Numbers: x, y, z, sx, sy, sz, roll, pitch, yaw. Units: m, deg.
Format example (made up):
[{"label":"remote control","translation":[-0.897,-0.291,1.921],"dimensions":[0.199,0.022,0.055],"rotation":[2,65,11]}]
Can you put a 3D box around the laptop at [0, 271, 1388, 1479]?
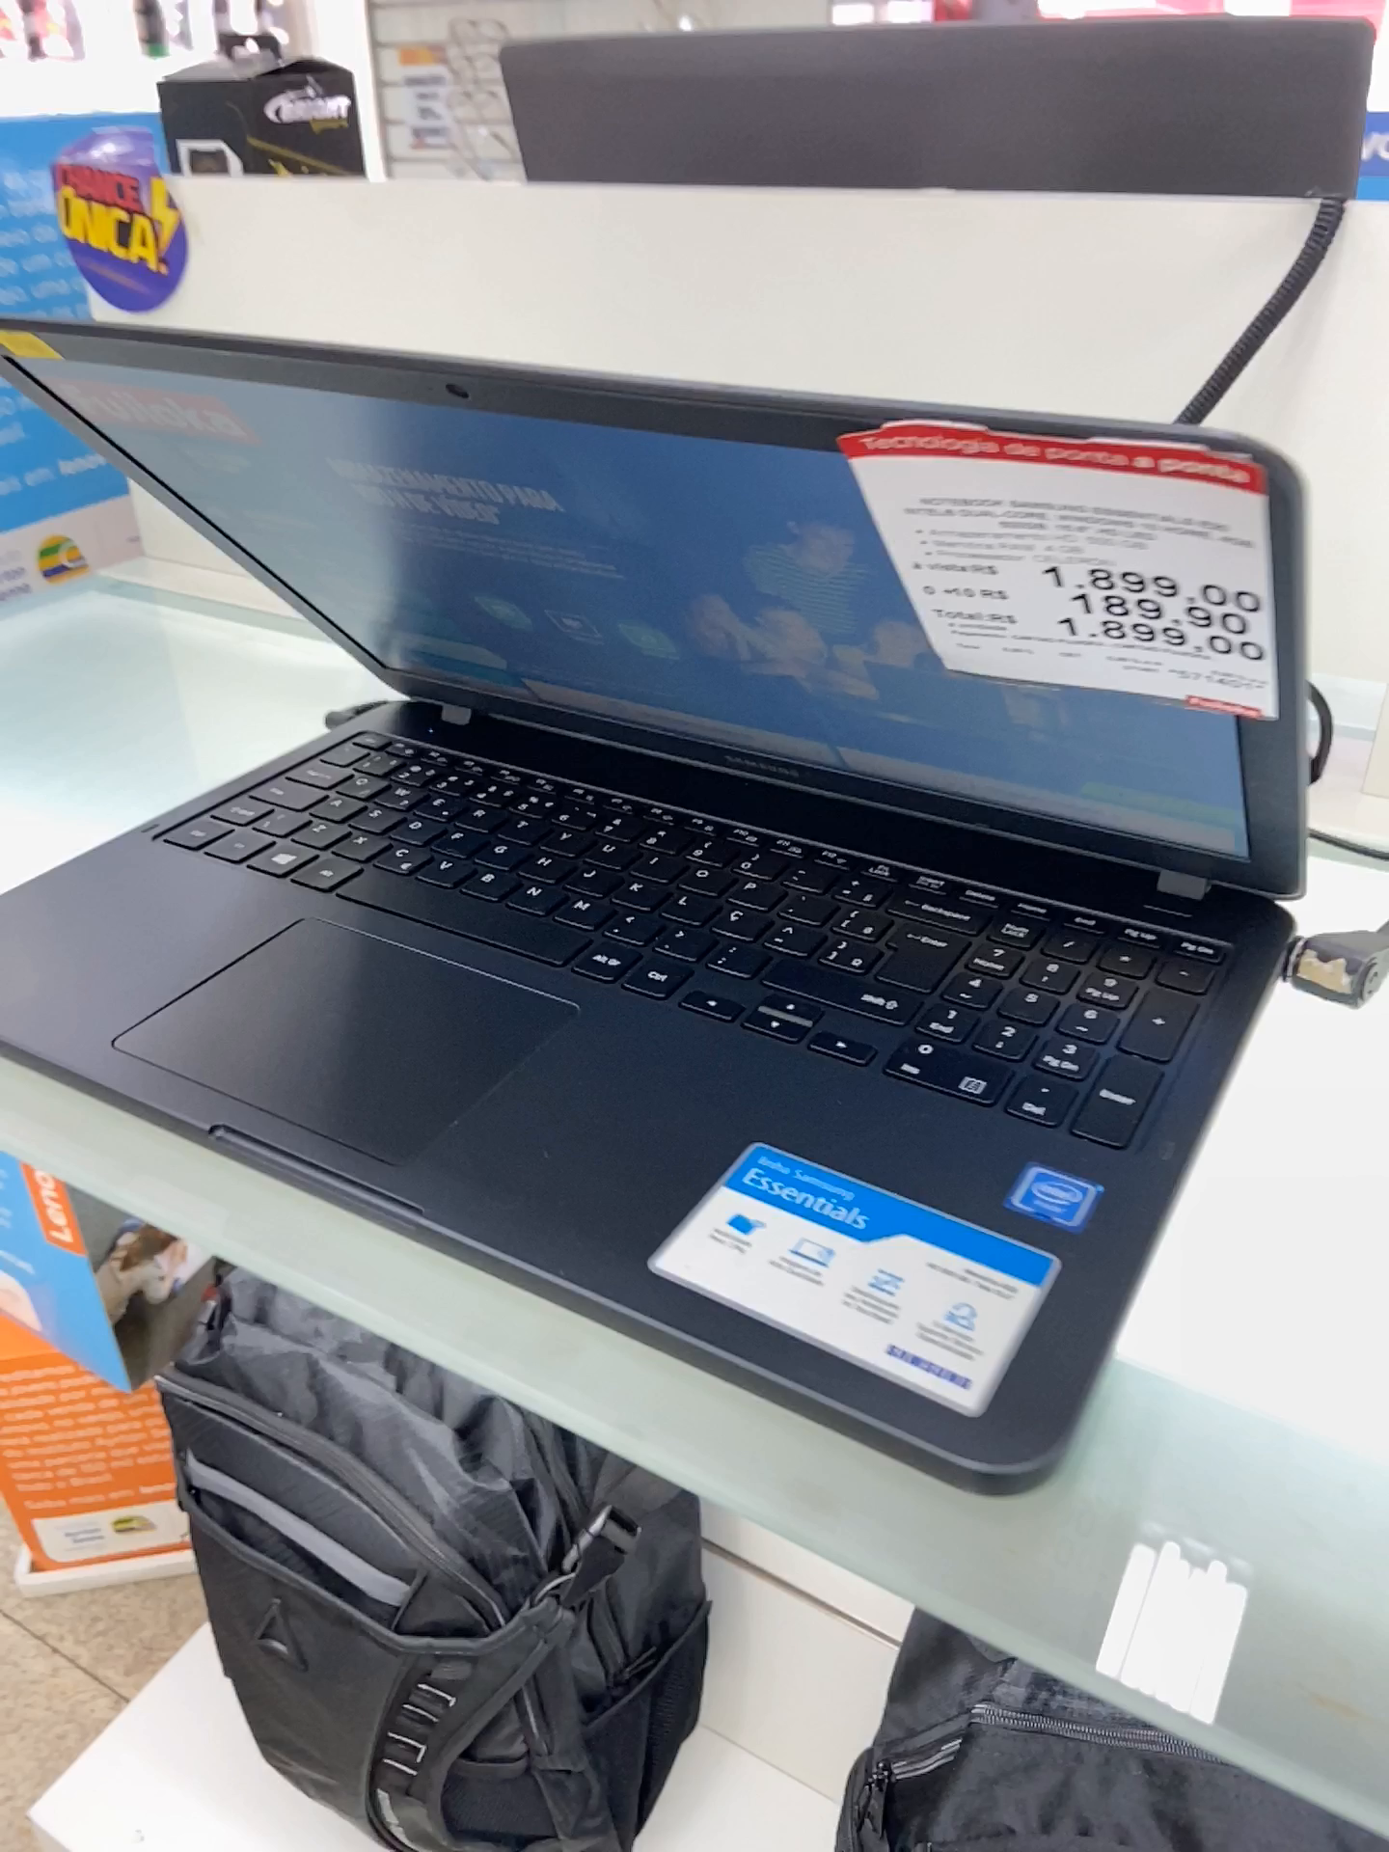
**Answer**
[{"label":"laptop","translation":[-0.038,-0.070,0.407],"dimensions":[0.372,0.173,0.246],"rotation":[16,35,27]}]
